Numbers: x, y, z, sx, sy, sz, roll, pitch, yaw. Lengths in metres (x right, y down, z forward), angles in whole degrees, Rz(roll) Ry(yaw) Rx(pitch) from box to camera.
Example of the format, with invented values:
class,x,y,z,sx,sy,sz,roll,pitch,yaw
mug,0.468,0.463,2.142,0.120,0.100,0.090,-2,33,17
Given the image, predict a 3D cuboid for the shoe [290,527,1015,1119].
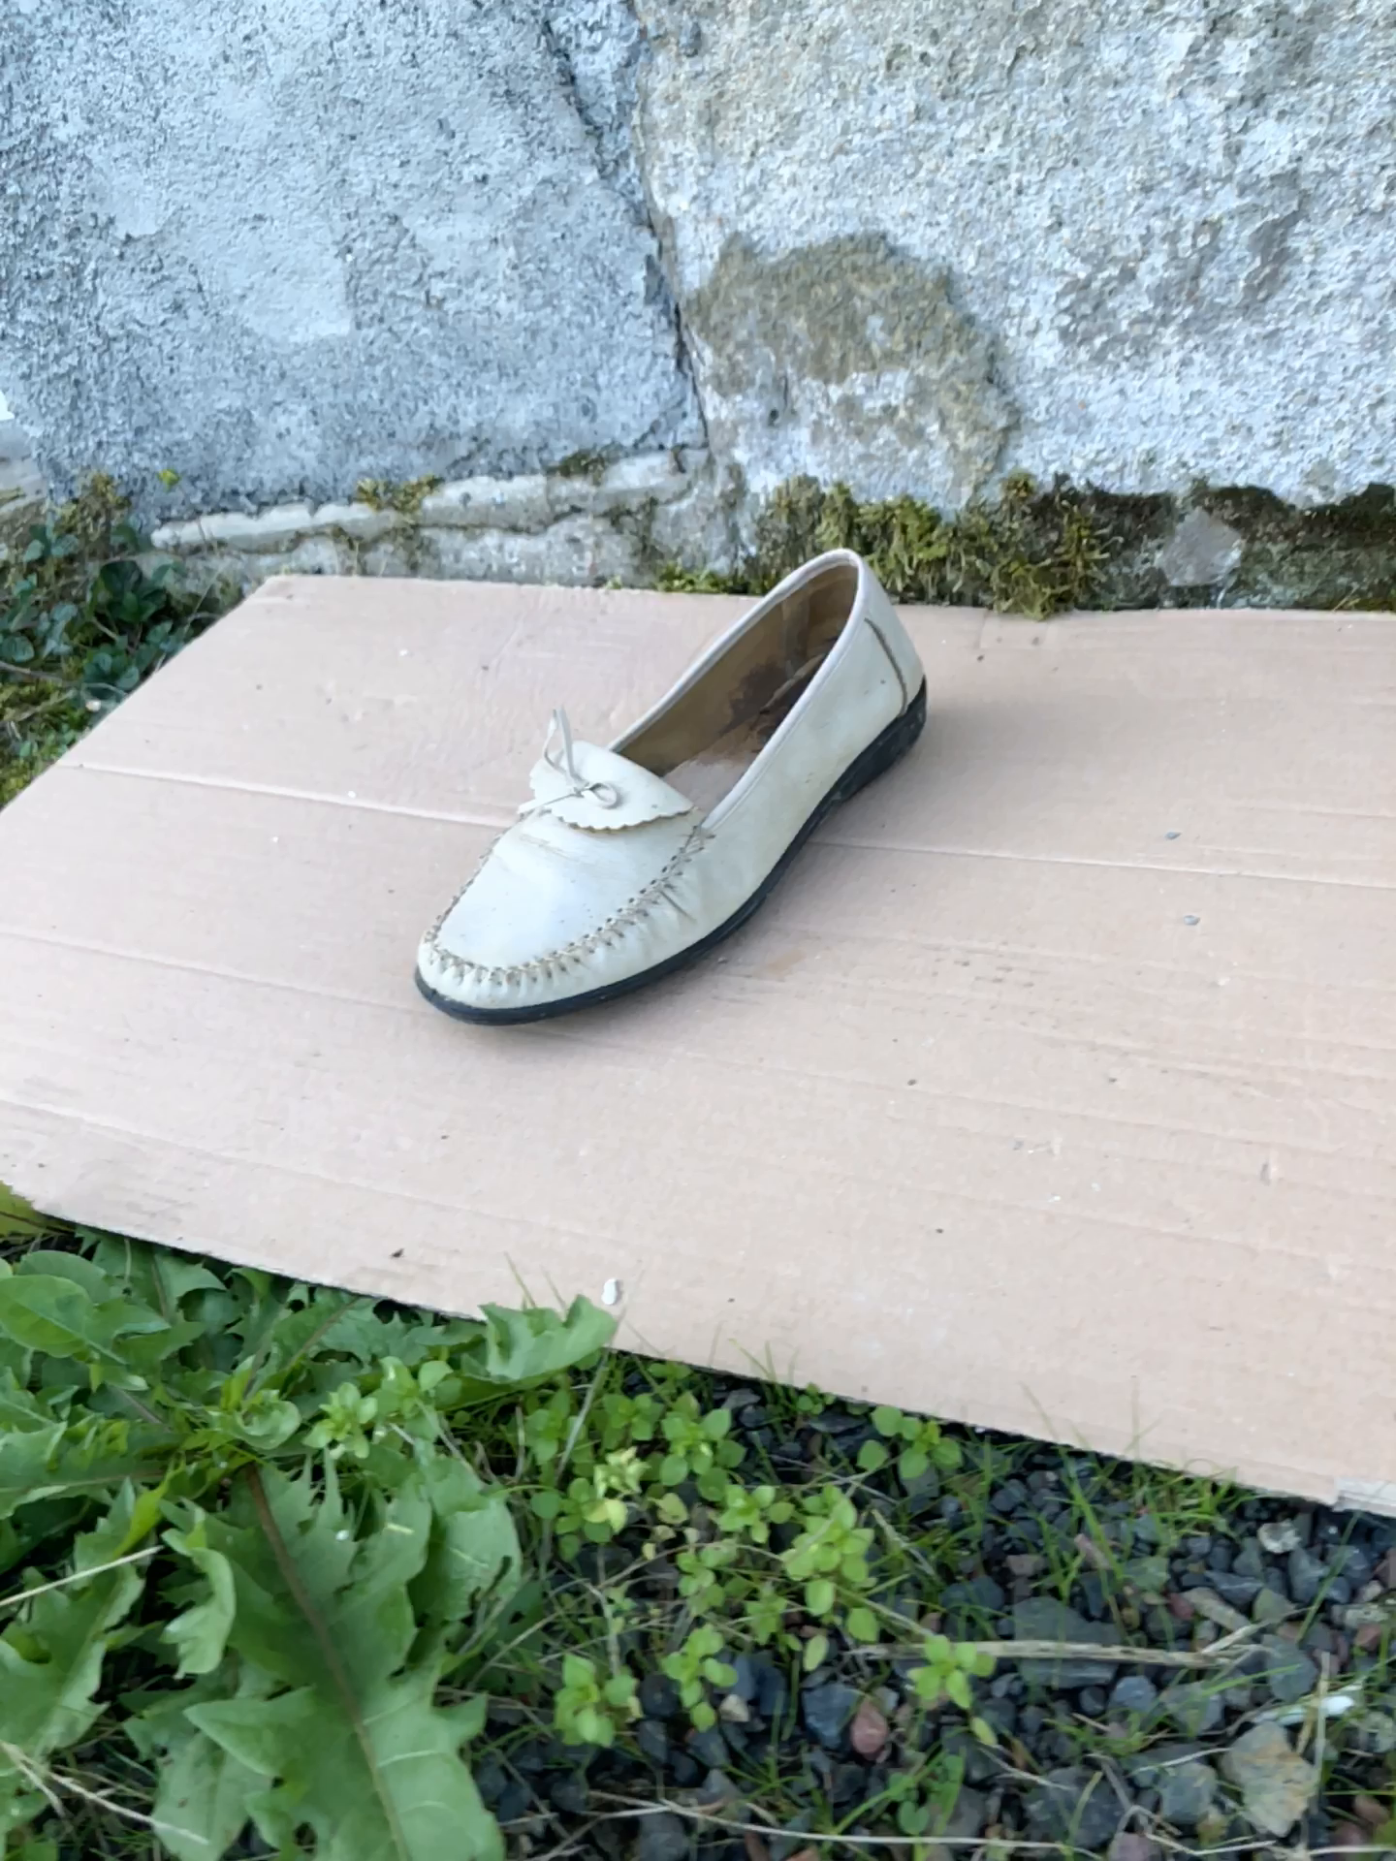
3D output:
class,x,y,z,sx,sy,sz,roll,pitch,yaw
shoe,-0.006,-0.055,0.578,0.261,0.080,0.100,-38,39,-28
